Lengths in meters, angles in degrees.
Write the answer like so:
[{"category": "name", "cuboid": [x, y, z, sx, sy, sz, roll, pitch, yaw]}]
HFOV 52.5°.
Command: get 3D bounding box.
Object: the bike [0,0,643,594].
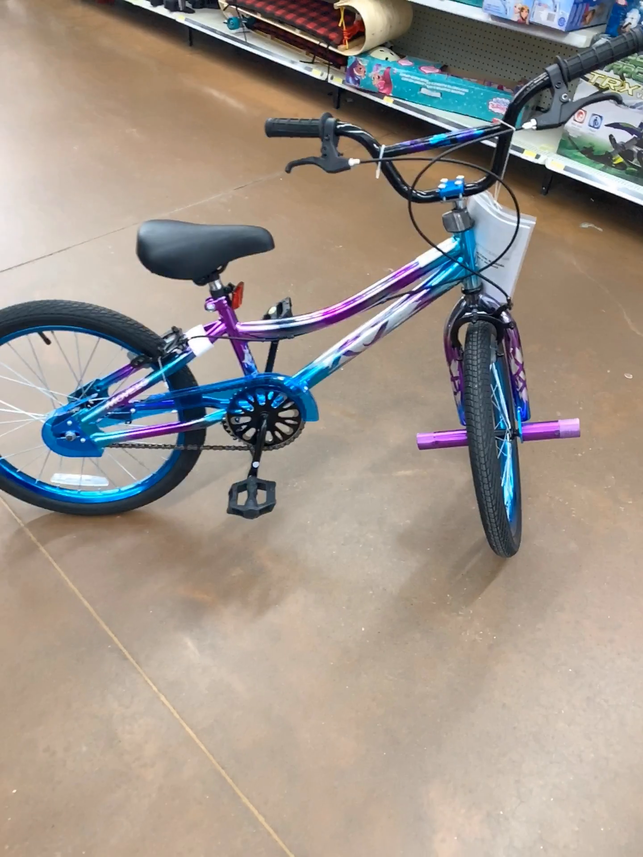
[{"category": "bike", "cuboid": [-0.130, -0.299, 1.243, 1.120, 0.876, 0.623, -5, 45, -12]}]
